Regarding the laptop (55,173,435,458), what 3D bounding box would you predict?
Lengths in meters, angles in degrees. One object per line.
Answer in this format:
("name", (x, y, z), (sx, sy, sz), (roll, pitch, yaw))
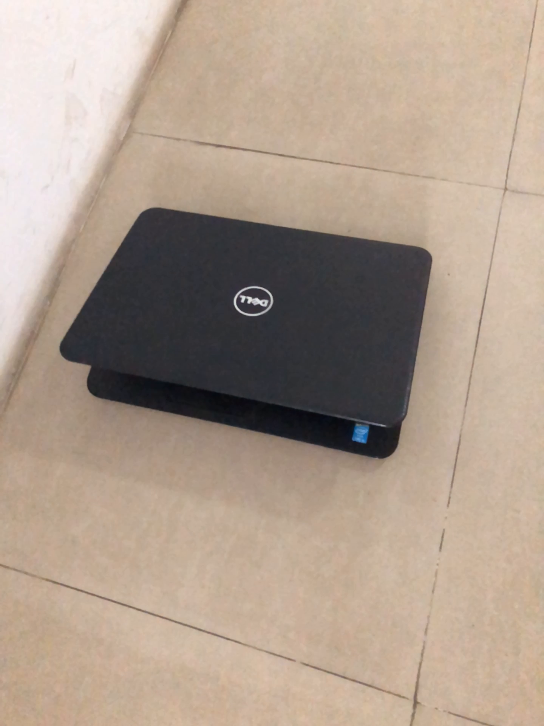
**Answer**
("laptop", (-0.023, -0.061, 0.670), (0.357, 0.078, 0.248), (11, 73, 10))
